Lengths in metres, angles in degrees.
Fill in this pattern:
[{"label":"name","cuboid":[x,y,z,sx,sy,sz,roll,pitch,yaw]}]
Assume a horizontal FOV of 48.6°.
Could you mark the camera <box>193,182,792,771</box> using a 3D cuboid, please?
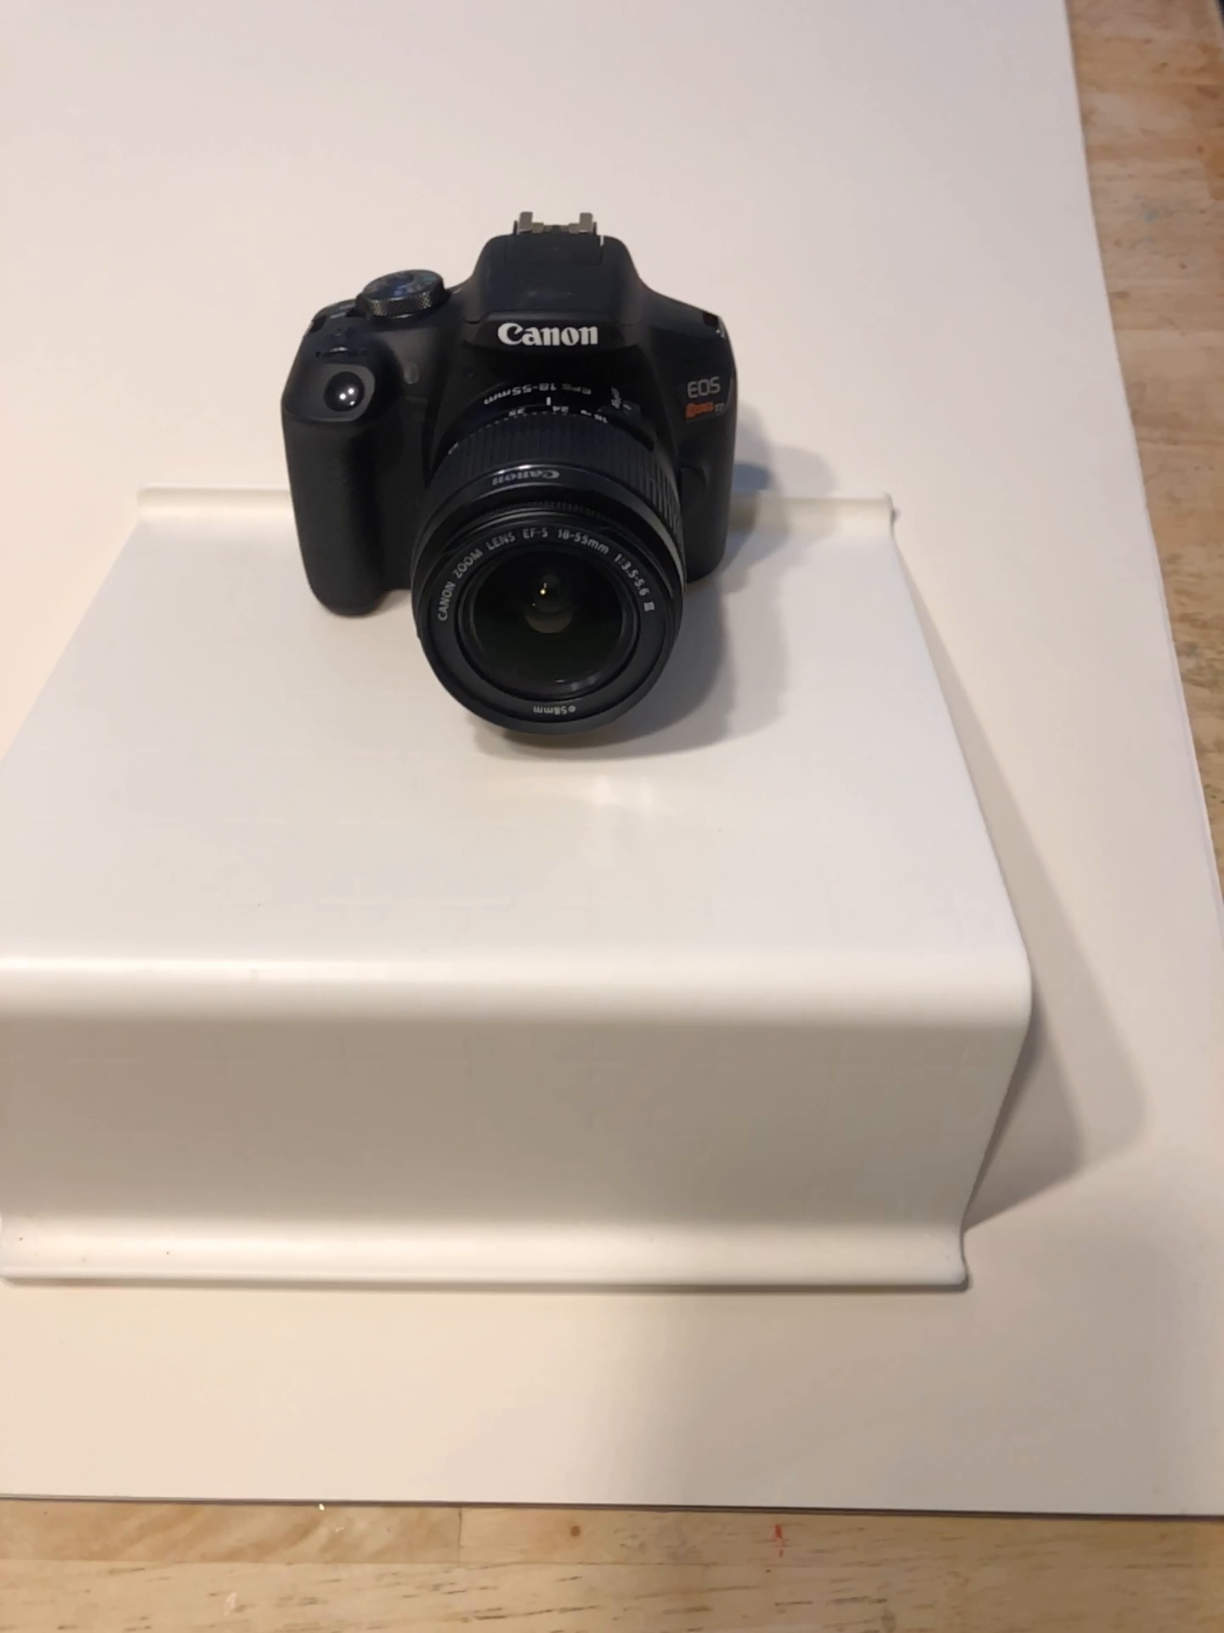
[{"label":"camera","cuboid":[-0.027,-0.098,0.371,0.125,0.104,0.141,1,38,-1]}]
